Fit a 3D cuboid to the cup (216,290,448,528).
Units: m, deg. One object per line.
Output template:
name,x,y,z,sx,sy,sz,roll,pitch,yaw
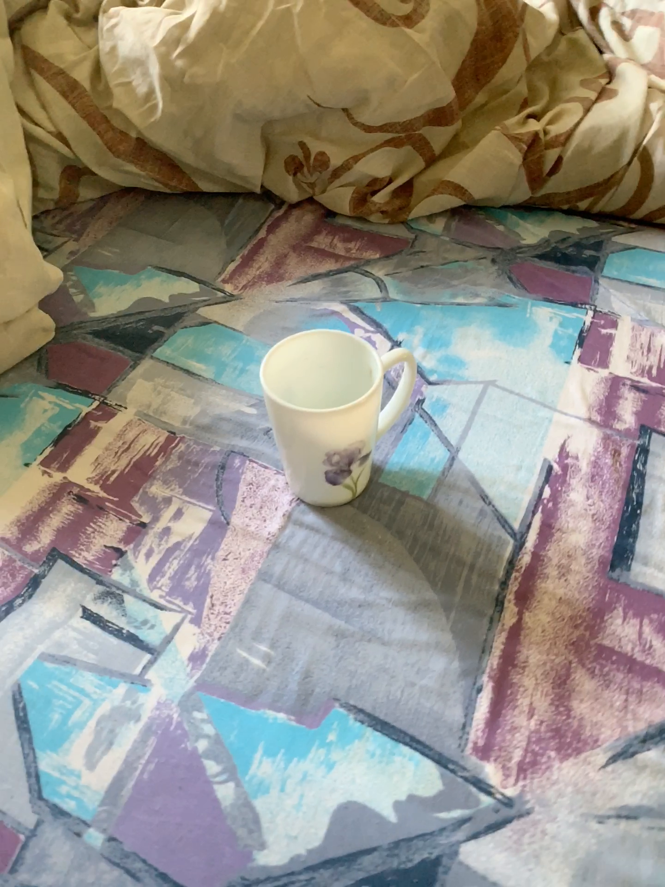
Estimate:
cup,-0.001,-0.023,0.457,0.120,0.099,0.081,-21,53,-16
